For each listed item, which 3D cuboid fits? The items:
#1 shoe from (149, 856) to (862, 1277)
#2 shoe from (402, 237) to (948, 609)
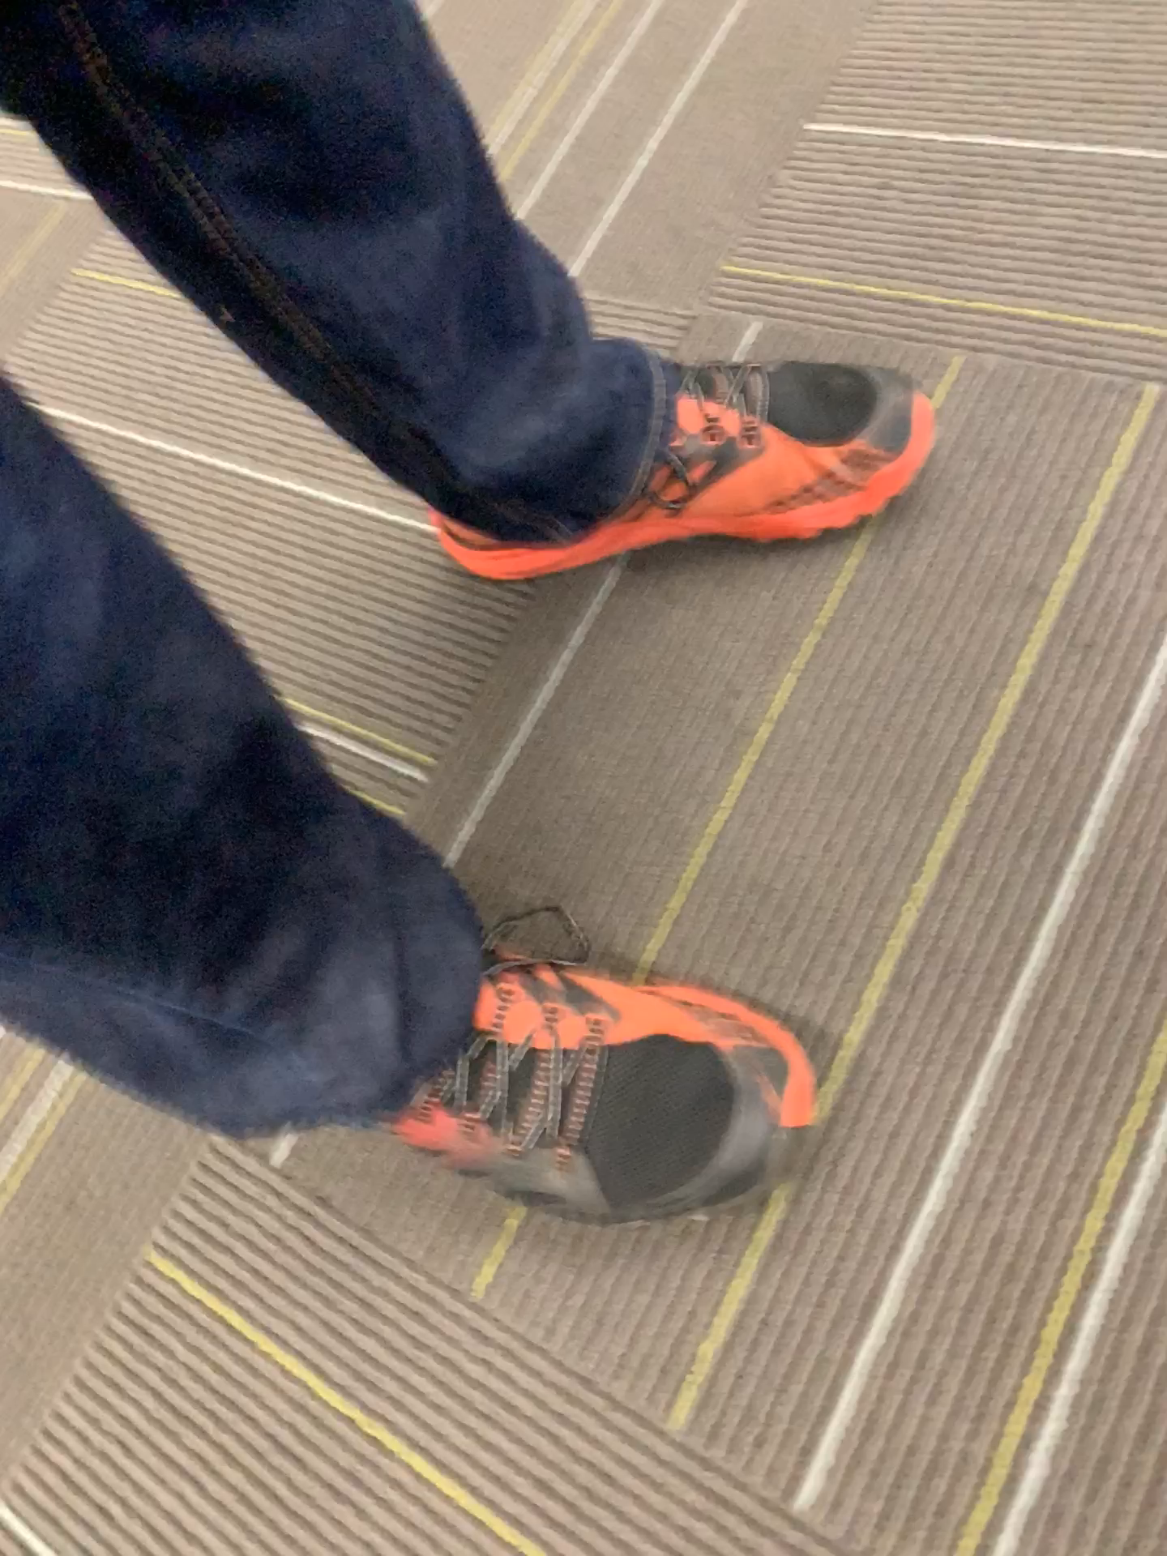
[{"bbox_3d":[-0.038,0.141,0.601,0.320,0.120,0.120,8,68,24],"label":"shoe"},{"bbox_3d":[0.055,-0.204,0.713,0.300,0.100,0.130,-6,64,18],"label":"shoe"}]
